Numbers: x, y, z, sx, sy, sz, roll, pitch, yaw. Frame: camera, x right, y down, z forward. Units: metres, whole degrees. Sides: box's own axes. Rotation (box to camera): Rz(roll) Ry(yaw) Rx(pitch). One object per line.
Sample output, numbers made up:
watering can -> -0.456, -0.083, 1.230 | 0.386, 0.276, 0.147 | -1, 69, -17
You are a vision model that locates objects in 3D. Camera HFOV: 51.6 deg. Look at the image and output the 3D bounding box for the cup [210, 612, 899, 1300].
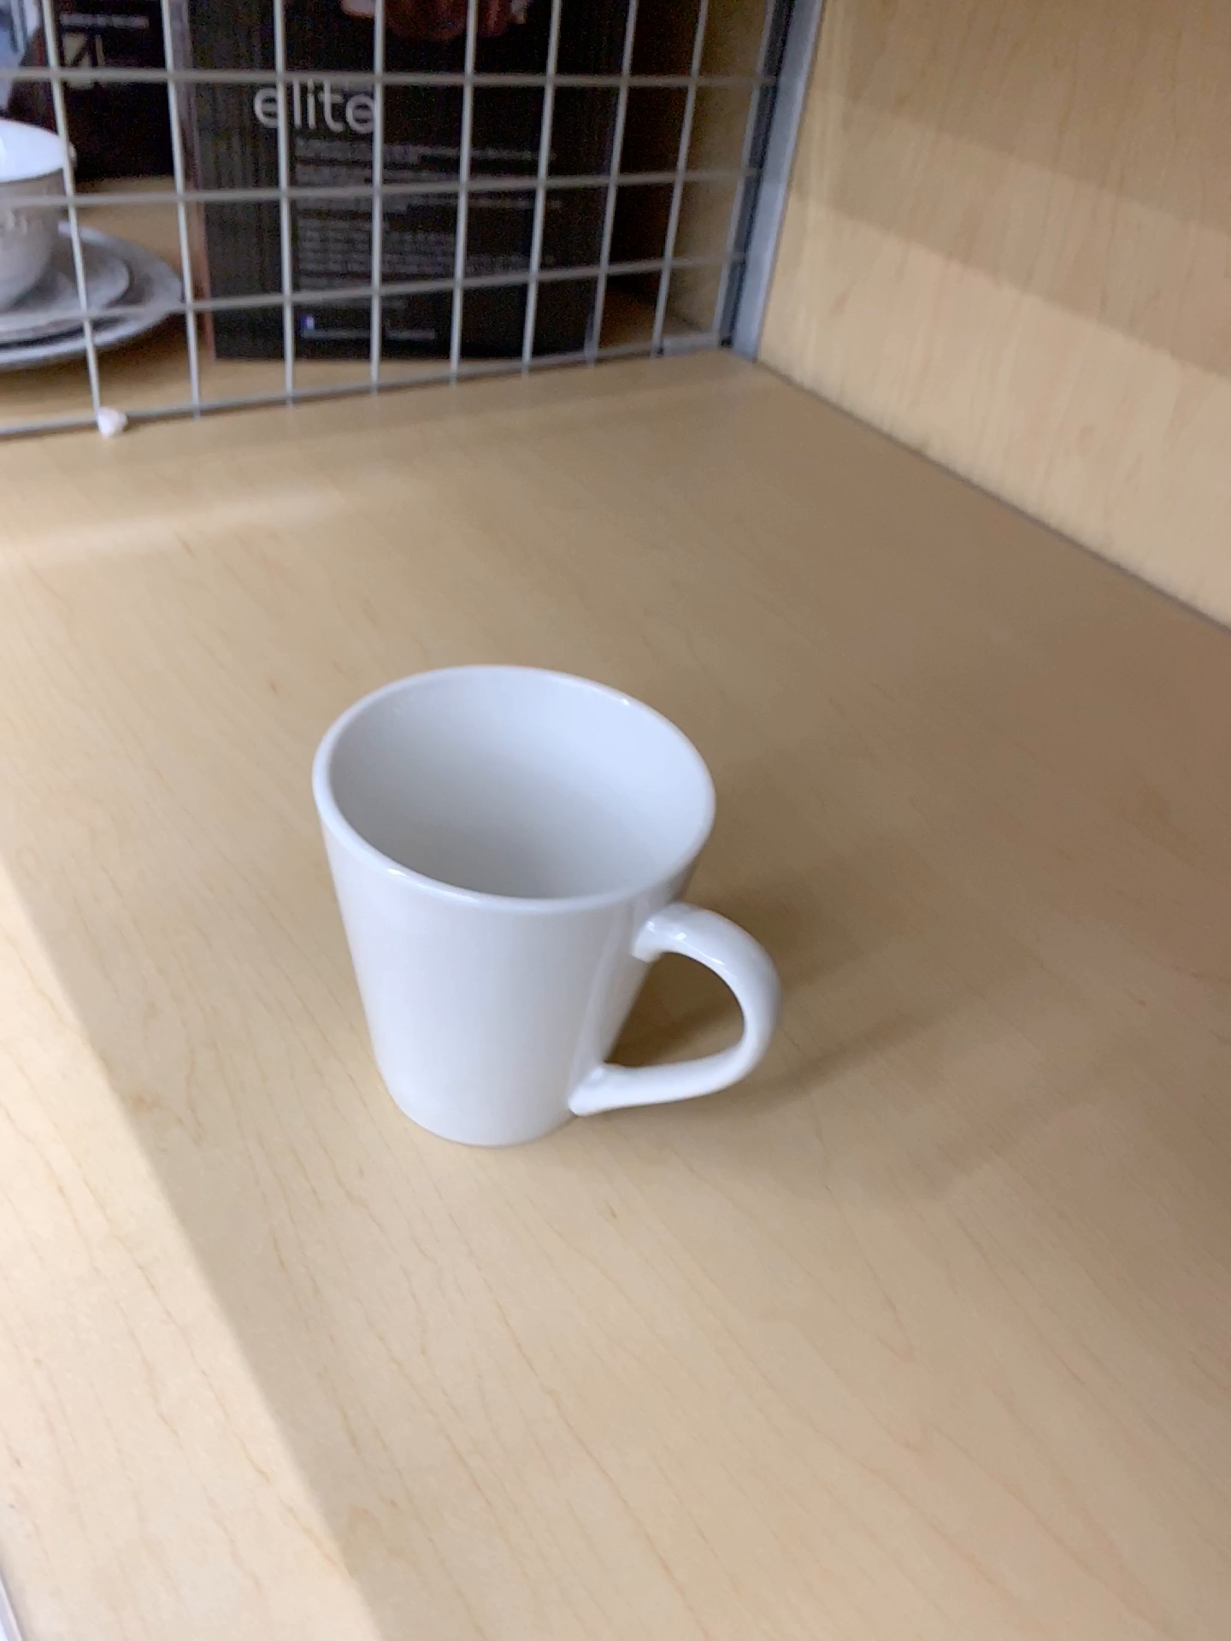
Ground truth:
cup -> -0.016, 0.028, 0.322 | 0.129, 0.090, 0.094 | 26, 44, 20
